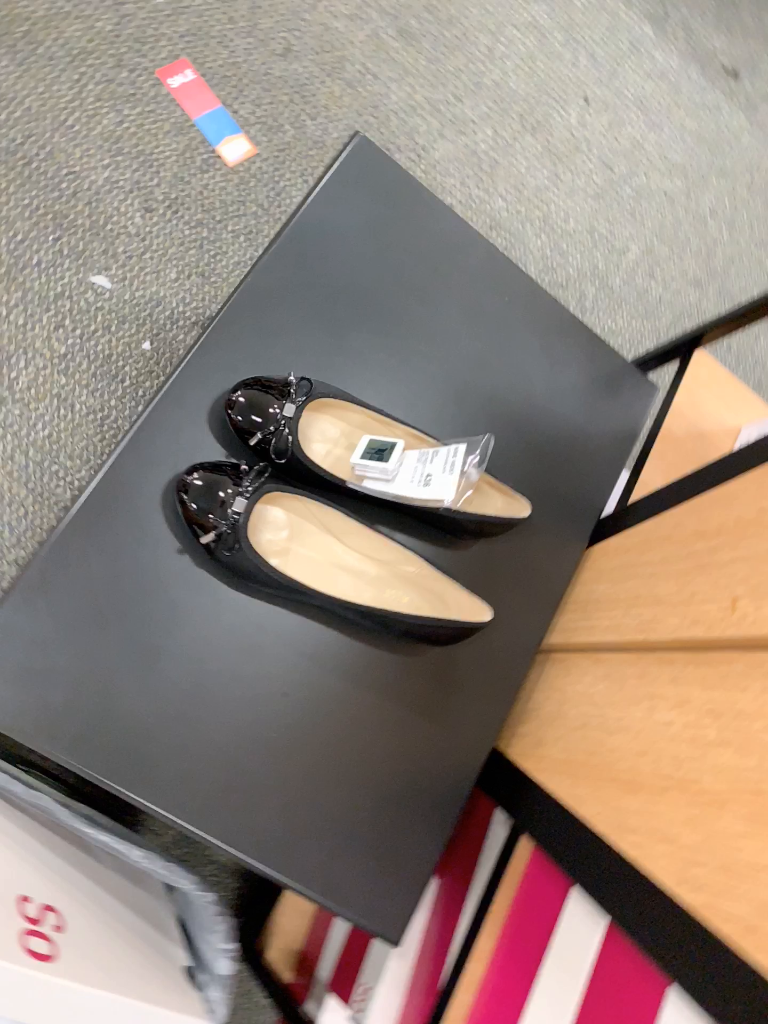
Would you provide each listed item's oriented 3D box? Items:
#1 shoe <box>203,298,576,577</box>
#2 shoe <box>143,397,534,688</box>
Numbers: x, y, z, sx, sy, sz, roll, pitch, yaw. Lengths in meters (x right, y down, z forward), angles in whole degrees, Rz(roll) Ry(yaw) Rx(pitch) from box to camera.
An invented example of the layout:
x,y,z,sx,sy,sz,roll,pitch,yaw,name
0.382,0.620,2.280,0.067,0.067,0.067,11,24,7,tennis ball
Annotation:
x,y,z,sx,sy,sz,roll,pitch,yaw,name
0.005,-0.044,0.599,0.250,0.100,0.090,25,72,-17,shoe
-0.032,0.032,0.570,0.250,0.100,0.090,29,71,-16,shoe
